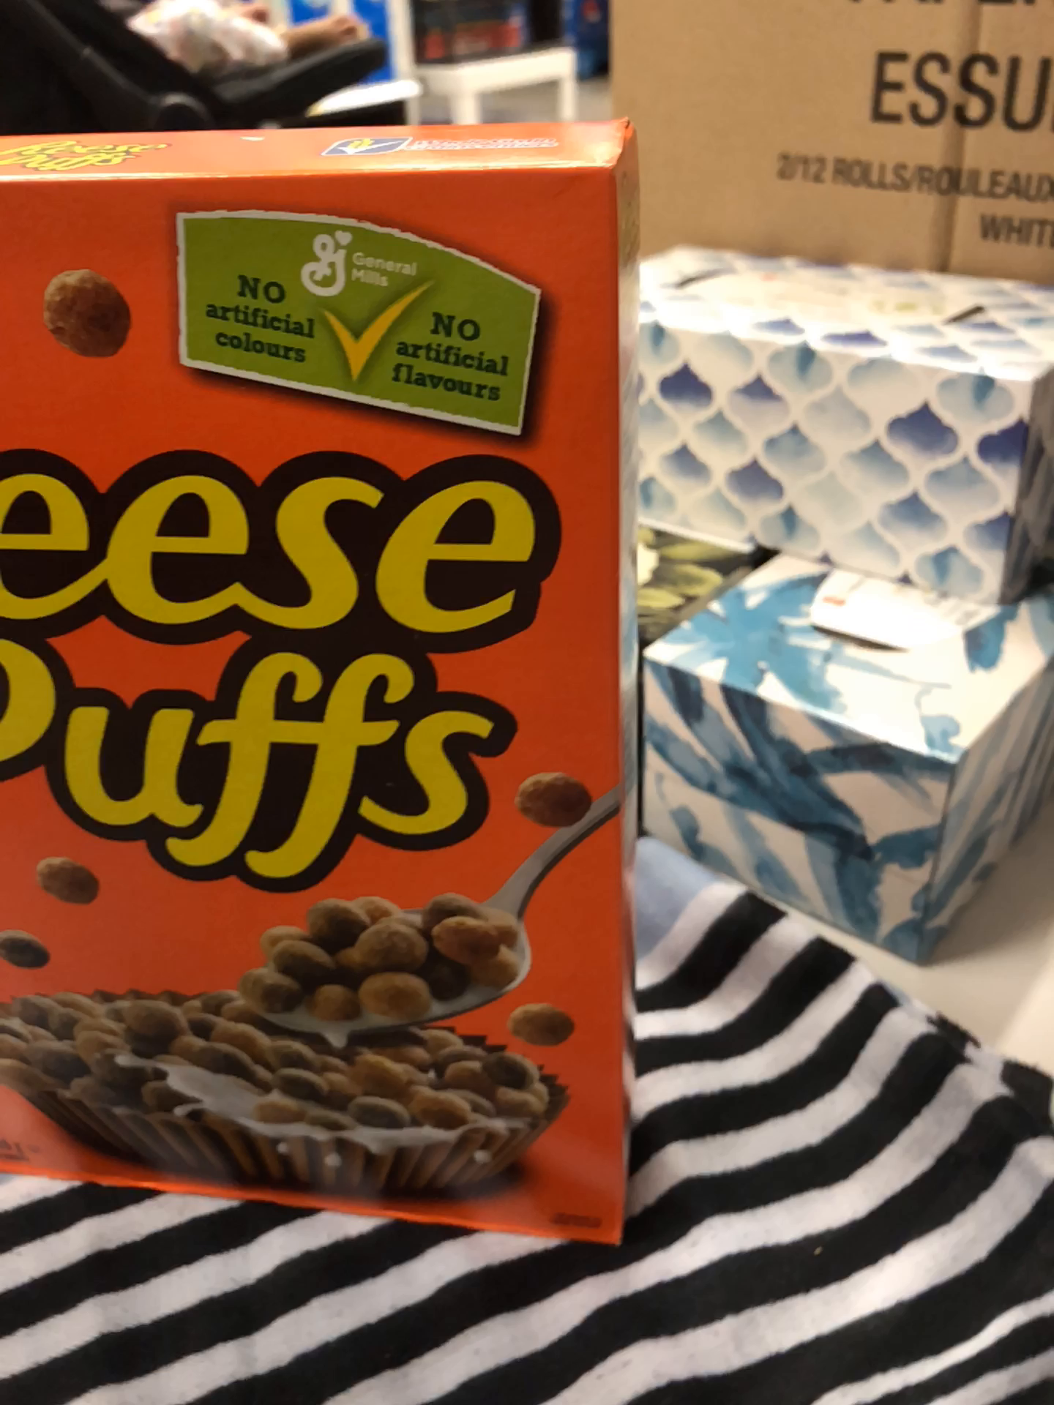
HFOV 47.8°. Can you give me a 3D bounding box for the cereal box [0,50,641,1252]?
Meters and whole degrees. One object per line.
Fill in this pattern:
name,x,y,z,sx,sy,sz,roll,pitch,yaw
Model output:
cereal box,-0.081,0.012,0.268,0.210,0.269,0.040,3,33,10
